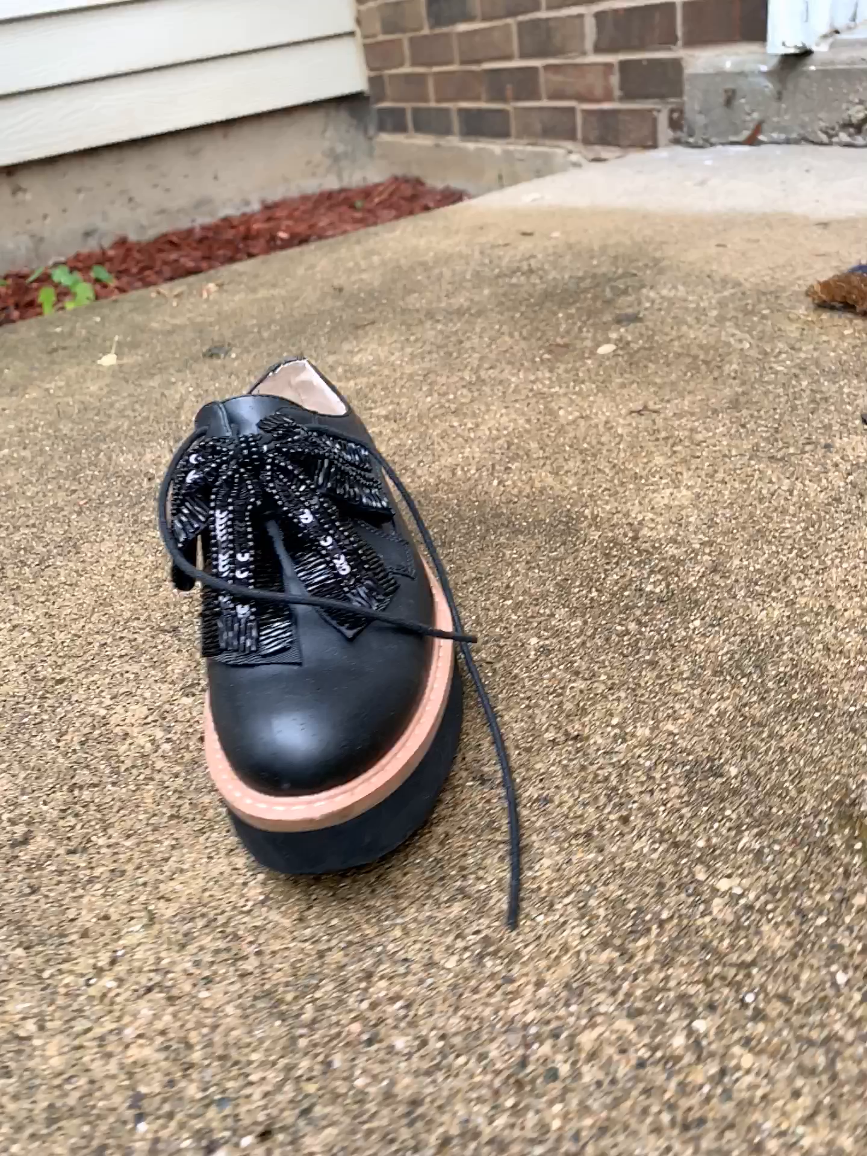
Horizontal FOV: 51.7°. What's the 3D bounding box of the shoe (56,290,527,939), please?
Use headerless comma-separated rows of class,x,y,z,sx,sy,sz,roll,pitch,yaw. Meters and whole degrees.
shoe,-0.051,-0.015,0.360,0.106,0.120,0.259,-12,32,-3
